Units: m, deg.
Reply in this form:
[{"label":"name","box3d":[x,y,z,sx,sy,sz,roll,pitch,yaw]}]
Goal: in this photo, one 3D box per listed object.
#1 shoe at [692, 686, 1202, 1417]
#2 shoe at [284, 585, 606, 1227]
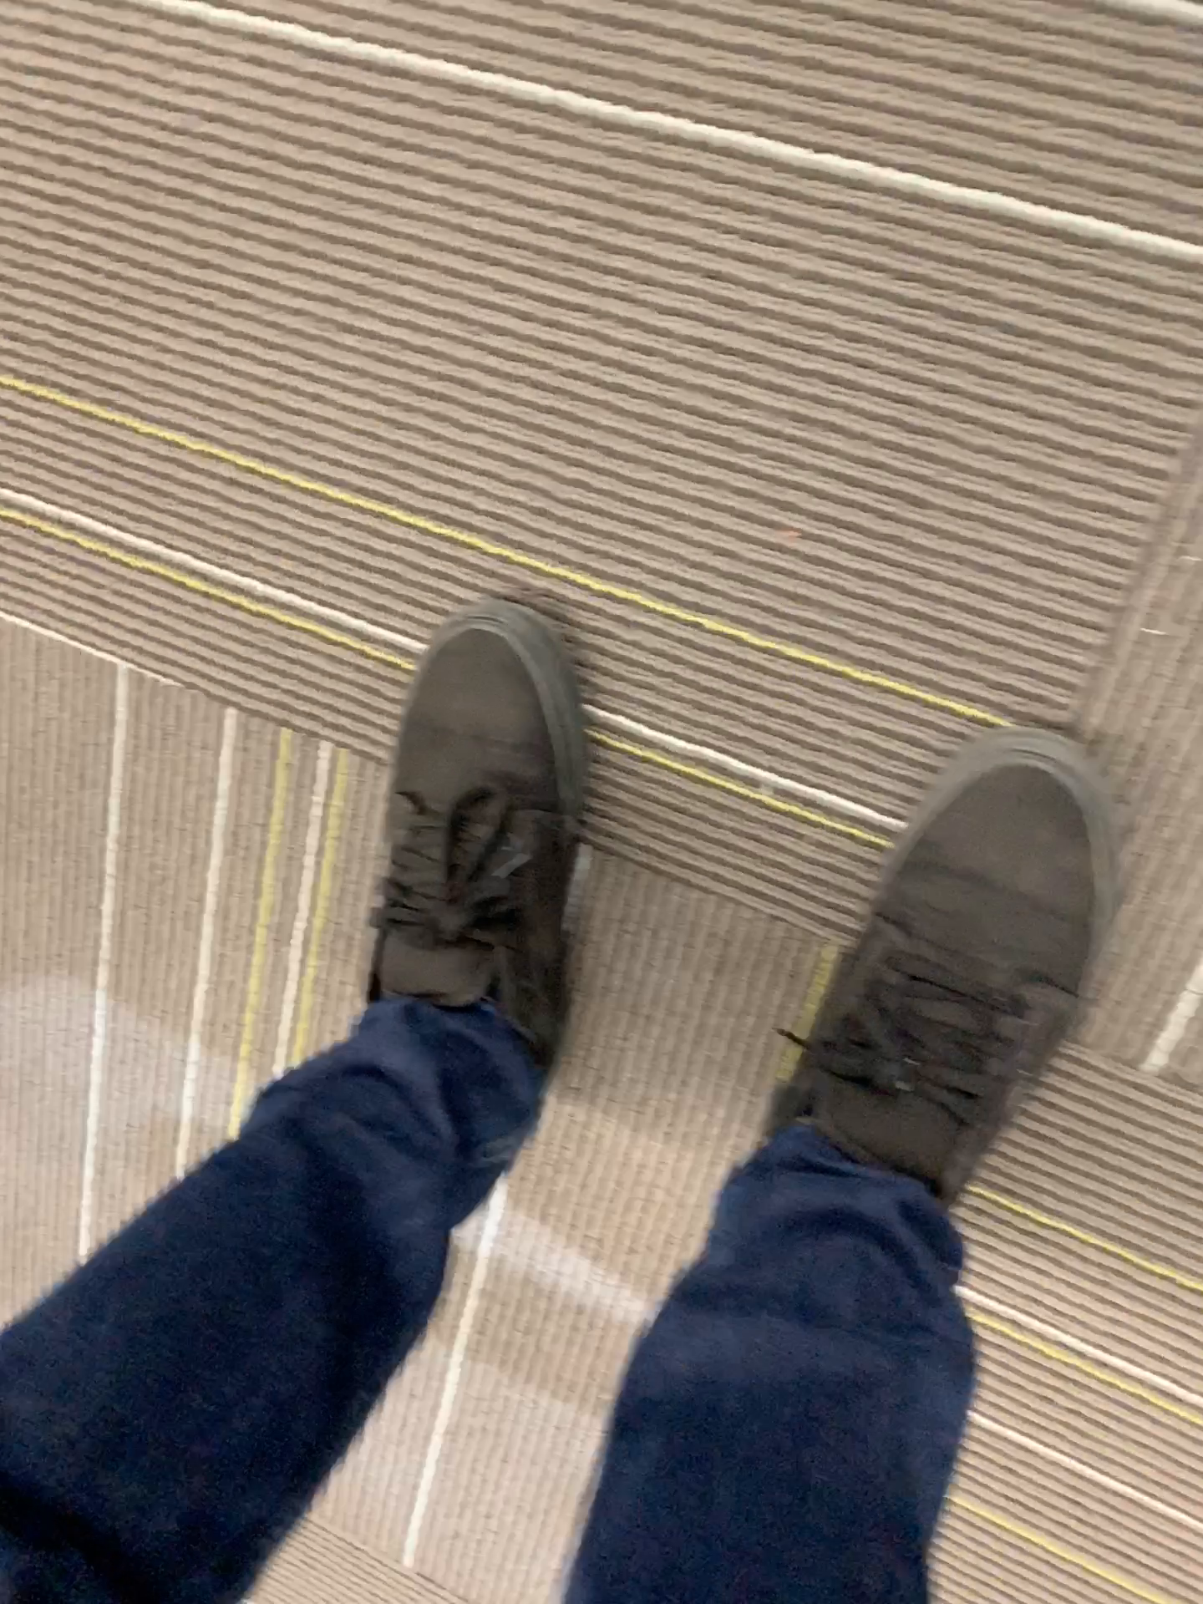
[{"label":"shoe","box3d":[0.147,0.113,0.556,0.109,0.113,0.292,22,116,14]},{"label":"shoe","box3d":[-0.069,0.048,0.624,0.109,0.113,0.292,8,112,20]}]
